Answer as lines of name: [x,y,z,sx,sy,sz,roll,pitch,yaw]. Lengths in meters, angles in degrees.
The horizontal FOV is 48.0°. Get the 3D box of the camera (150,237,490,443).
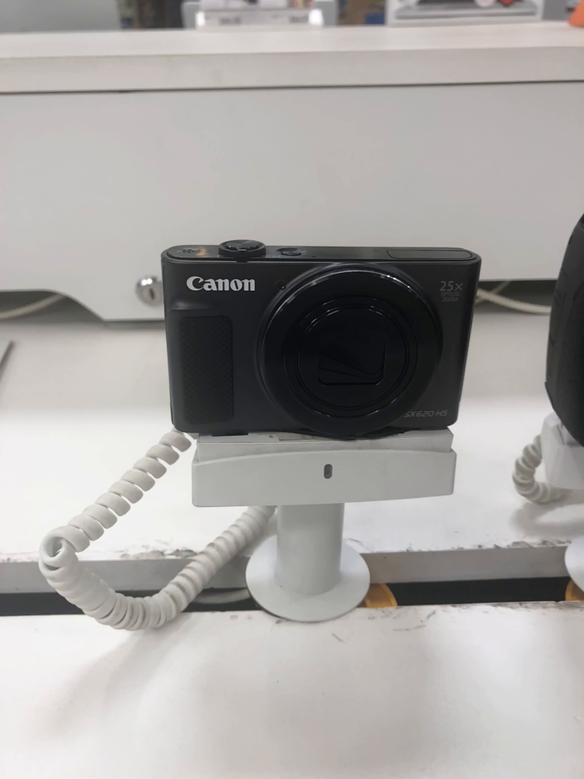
camera: [0.007,-0.015,0.203,0.093,0.057,0.025,-1,29,-4]
